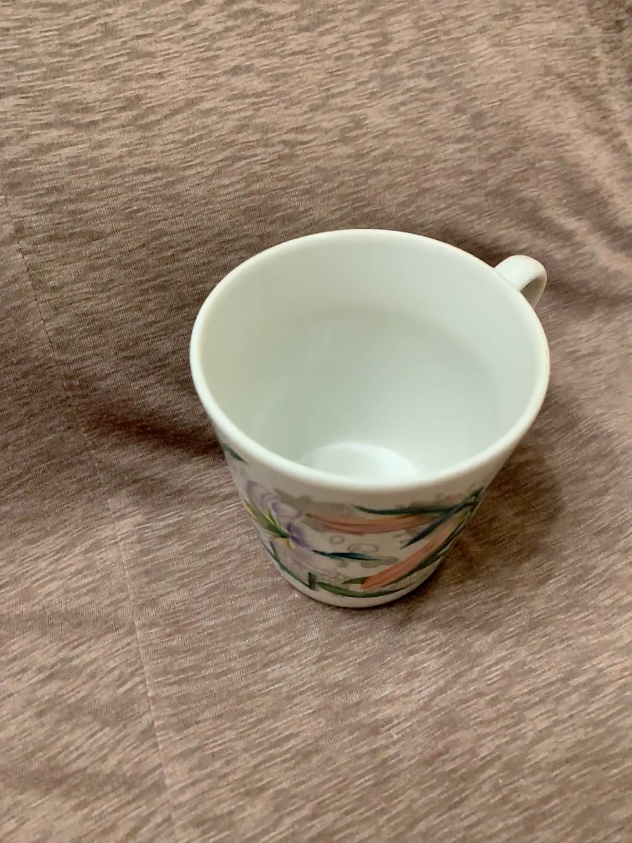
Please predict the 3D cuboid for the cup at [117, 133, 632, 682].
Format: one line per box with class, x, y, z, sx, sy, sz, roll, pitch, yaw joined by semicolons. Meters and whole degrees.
cup;0.025;-0.005;0.193;0.119;0.088;0.084;-26;56;-15
